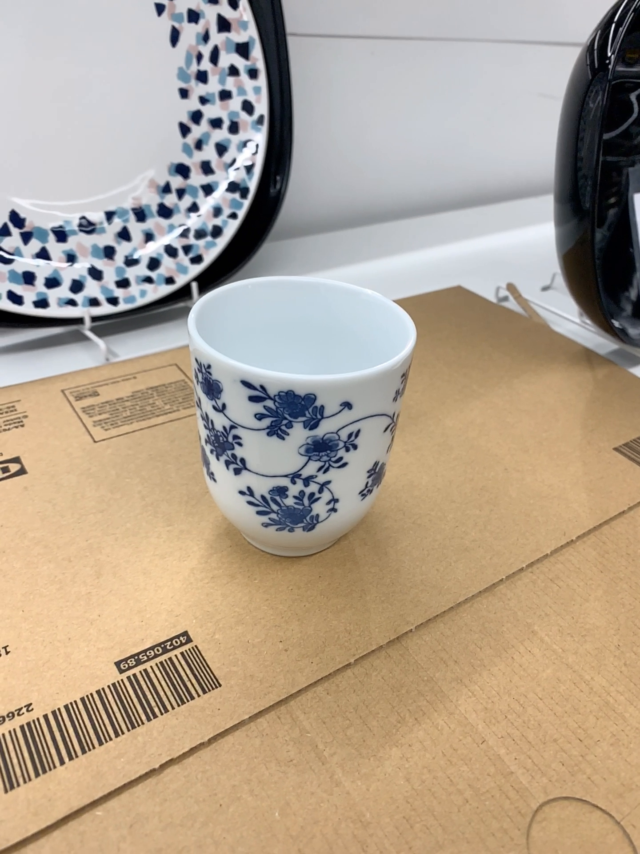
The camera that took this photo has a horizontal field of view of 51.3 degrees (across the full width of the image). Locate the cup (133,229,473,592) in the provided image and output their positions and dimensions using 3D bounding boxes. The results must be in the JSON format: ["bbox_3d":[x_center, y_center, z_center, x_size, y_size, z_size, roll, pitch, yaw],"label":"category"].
[{"bbox_3d":[-0.002,-0.012,0.229,0.080,0.080,0.080,3,32,-2],"label":"cup"}]
